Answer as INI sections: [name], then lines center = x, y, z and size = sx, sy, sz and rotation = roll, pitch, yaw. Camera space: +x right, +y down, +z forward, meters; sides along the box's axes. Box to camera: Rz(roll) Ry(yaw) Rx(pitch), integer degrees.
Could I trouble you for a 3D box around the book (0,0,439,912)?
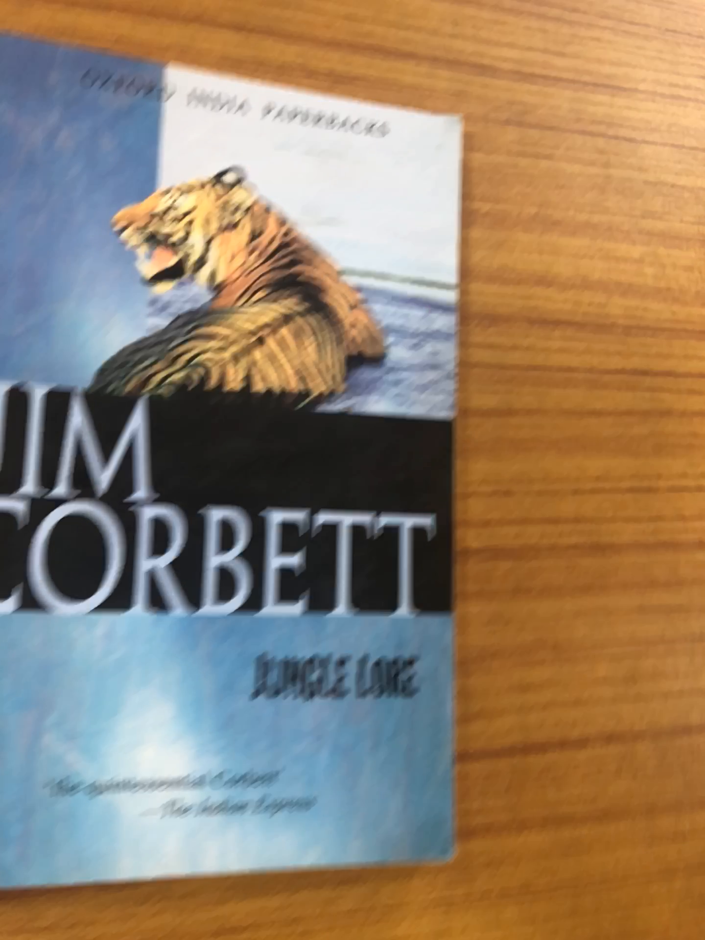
[book]
center = -0.050, -0.007, 0.212
size = 0.150, 0.010, 0.220
rotation = 3, 83, -15
